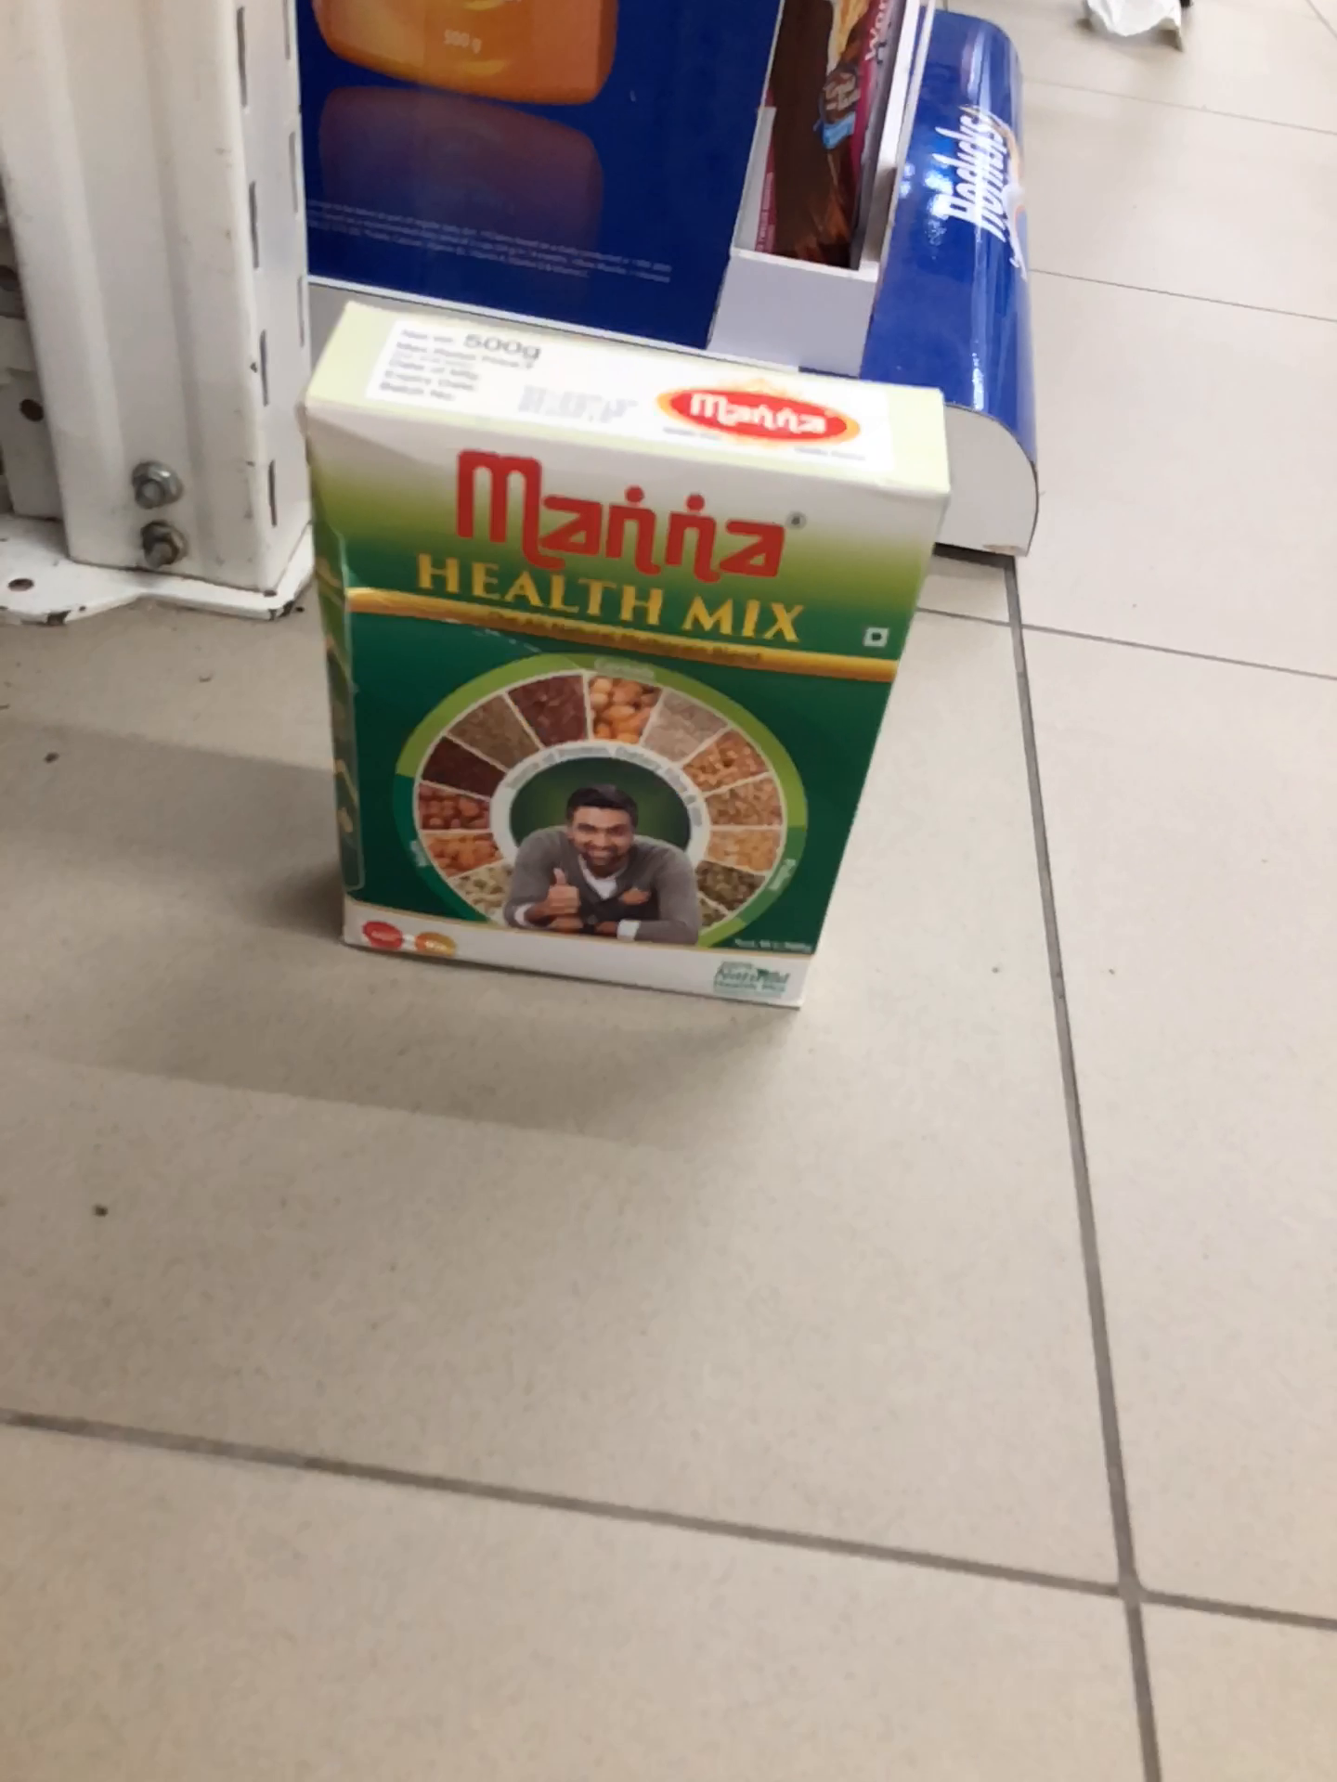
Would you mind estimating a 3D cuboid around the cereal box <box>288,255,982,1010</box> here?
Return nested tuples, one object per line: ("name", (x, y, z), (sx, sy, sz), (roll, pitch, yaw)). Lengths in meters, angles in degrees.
("cereal box", (-0.018, -0.056, 0.397), (0.150, 0.189, 0.050), (8, 45, -4))
